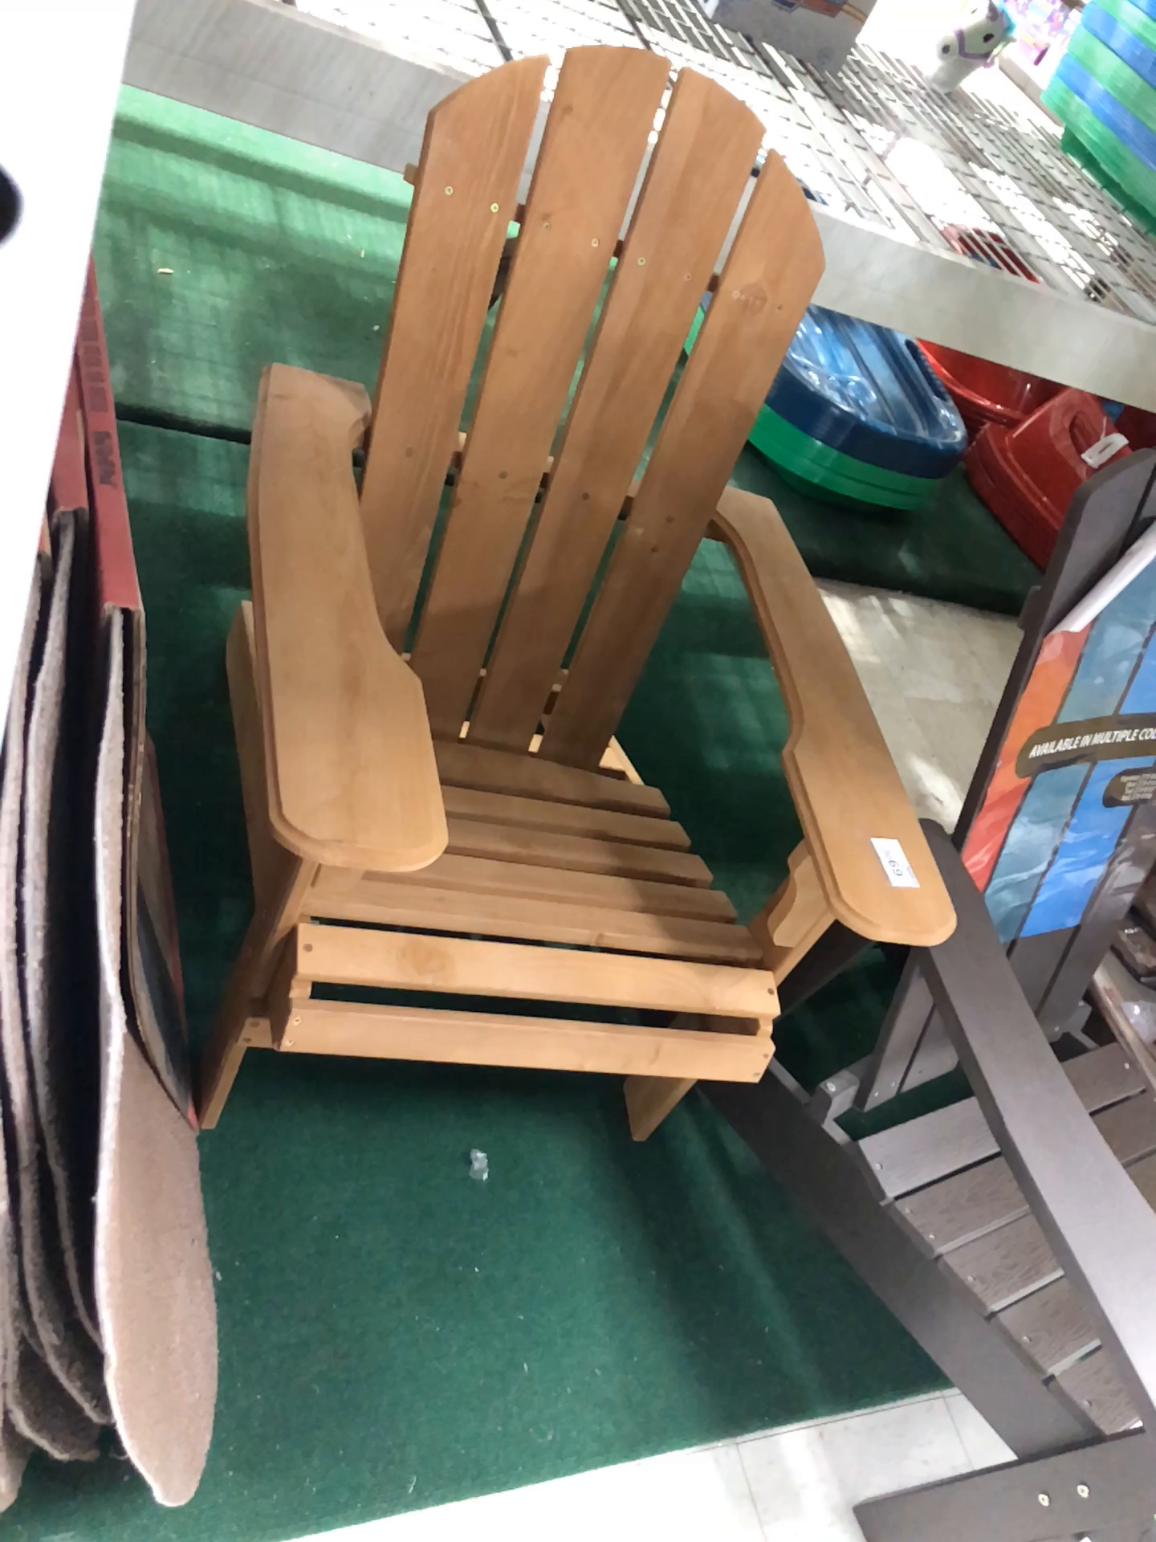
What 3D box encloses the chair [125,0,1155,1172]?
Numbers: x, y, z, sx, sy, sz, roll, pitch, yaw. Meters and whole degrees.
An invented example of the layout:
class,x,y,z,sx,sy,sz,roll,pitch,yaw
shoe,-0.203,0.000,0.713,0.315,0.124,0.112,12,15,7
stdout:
class,x,y,z,sx,sy,sz,roll,pitch,yaw
chair,-0.016,-0.124,1.271,0.643,0.884,0.689,10,46,-25
